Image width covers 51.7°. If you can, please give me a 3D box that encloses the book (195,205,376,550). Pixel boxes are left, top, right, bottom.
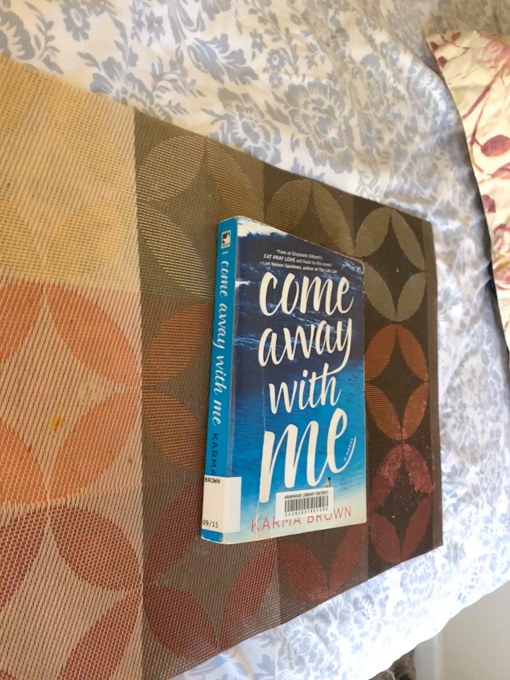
[{"bbox_3d":[0.029,0.027,0.360,0.135,0.030,0.200,10,79,-41],"label":"book"}]
